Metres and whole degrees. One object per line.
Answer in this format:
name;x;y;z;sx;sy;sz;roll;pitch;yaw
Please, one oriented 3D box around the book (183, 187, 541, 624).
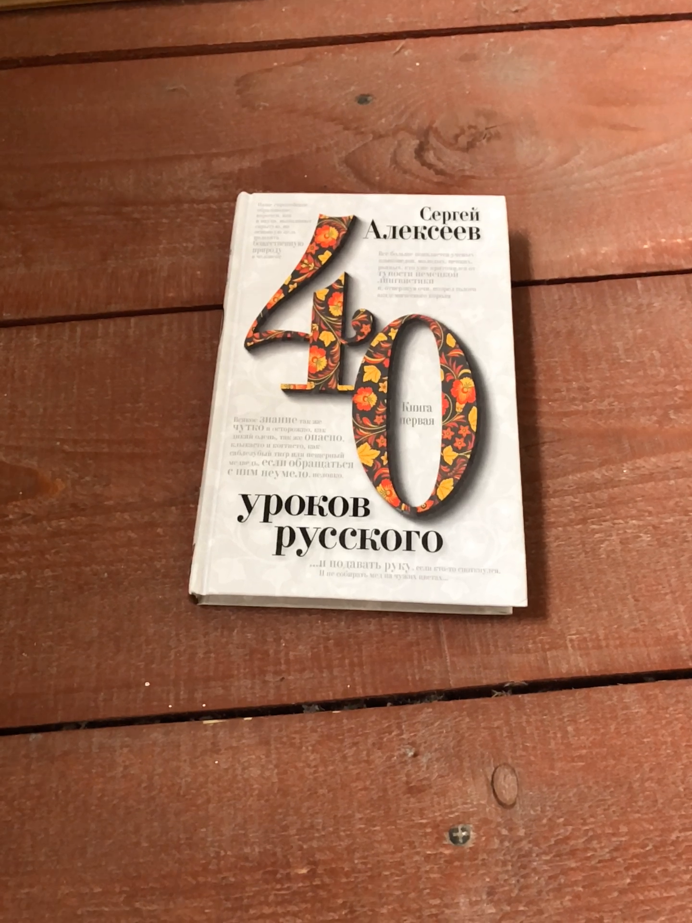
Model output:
book;0.010;-0.033;0.344;0.135;0.030;0.200;2;67;2
